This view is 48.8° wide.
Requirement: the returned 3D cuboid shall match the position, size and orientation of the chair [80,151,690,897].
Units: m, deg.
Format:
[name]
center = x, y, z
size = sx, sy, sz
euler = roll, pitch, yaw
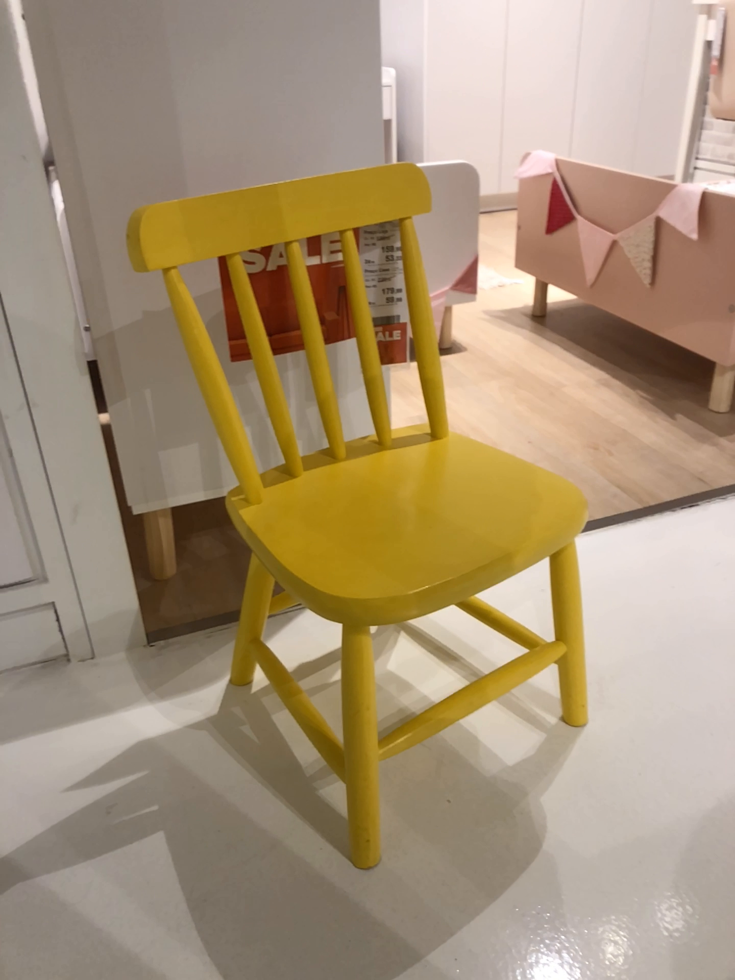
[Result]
[chair]
center = 0.014, -0.006, 0.840
size = 0.381, 0.576, 0.372
euler = -22, 35, -32
